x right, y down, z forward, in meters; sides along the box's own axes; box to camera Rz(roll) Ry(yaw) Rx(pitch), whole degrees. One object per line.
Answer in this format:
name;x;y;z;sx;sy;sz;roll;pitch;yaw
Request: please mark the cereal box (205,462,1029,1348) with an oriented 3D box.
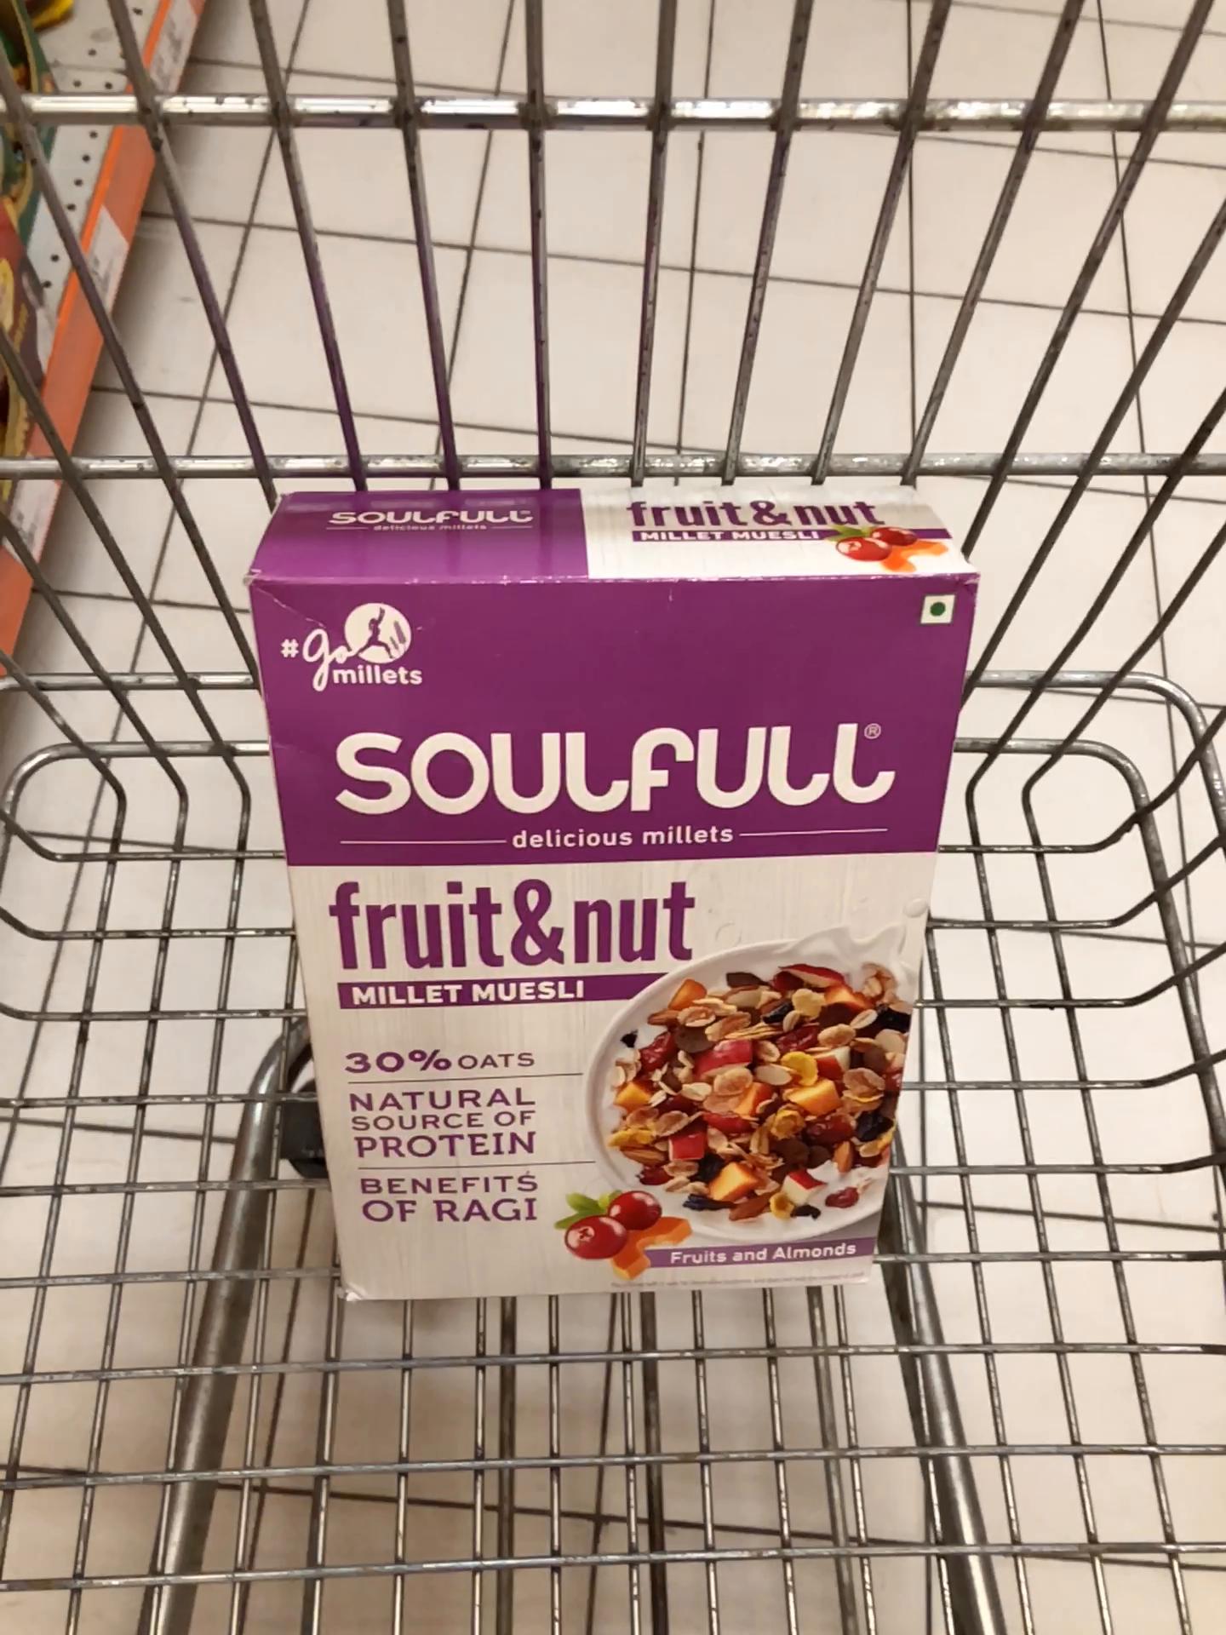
cereal box;-0.001;0.033;0.372;0.170;0.239;0.070;-2;31;-4
